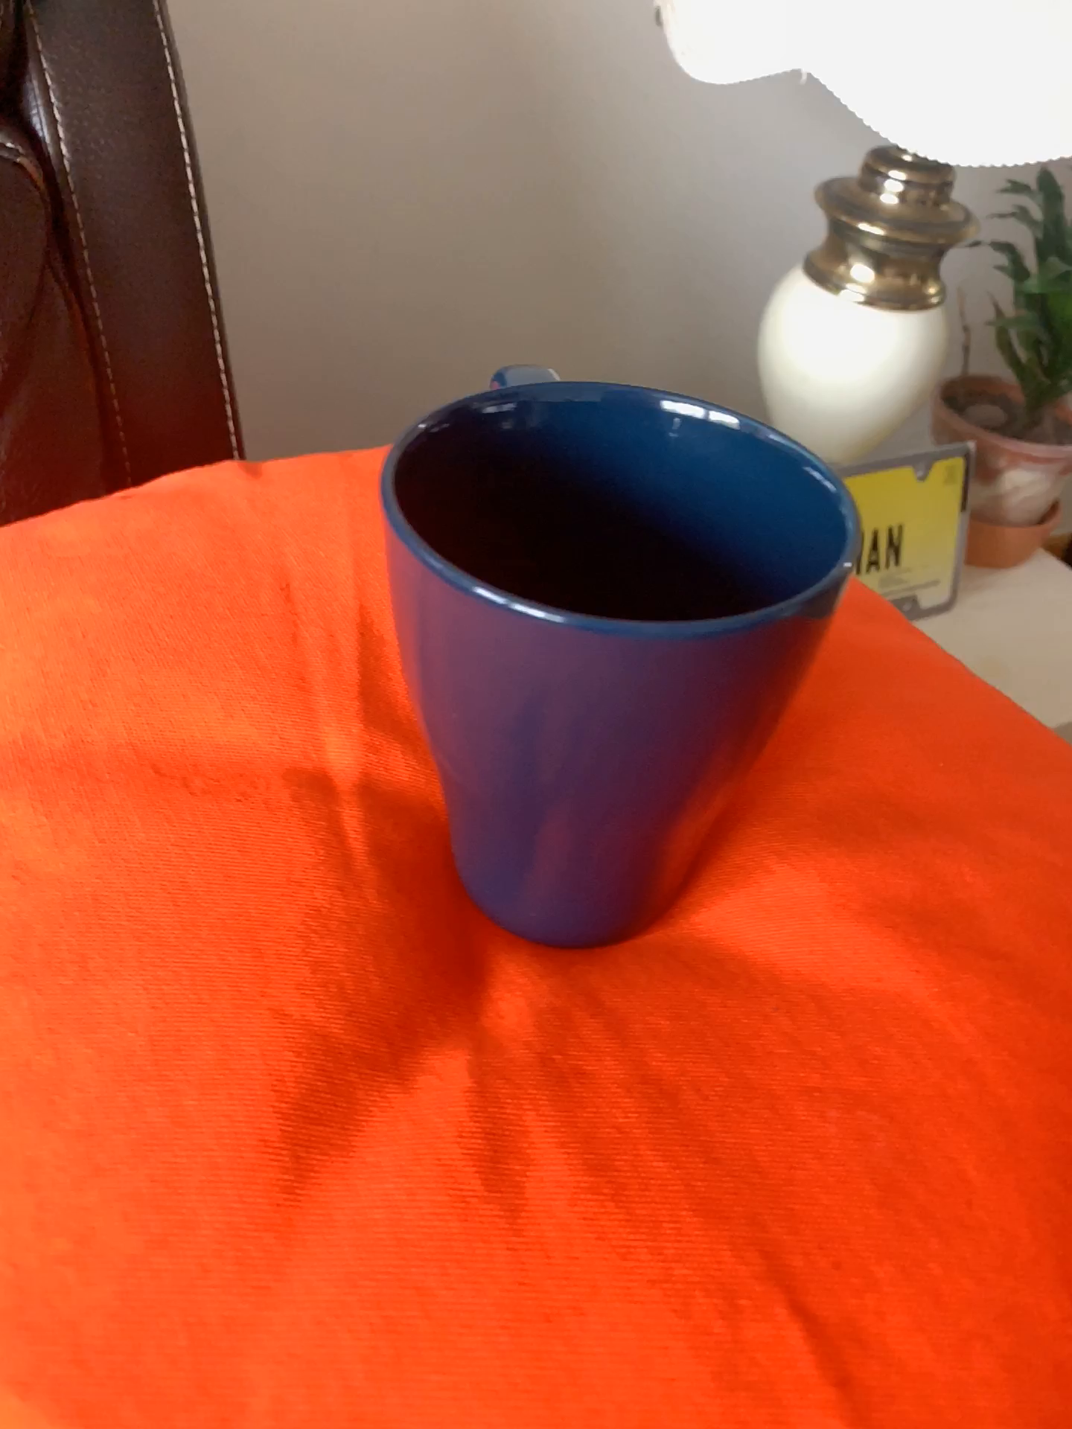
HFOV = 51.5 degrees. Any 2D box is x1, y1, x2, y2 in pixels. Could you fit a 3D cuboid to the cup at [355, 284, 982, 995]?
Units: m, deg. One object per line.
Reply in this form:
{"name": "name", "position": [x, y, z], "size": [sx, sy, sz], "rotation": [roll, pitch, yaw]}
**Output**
{"name": "cup", "position": [0.009, -0.023, 0.222], "size": [0.080, 0.079, 0.121], "rotation": [-3, 41, -13]}
